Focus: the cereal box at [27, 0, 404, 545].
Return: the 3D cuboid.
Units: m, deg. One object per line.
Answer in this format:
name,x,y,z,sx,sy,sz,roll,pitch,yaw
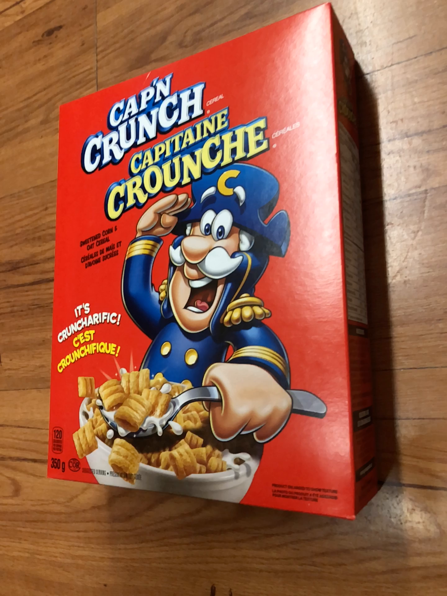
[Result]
cereal box,-0.017,-0.013,0.305,0.221,0.060,0.260,-5,81,30
